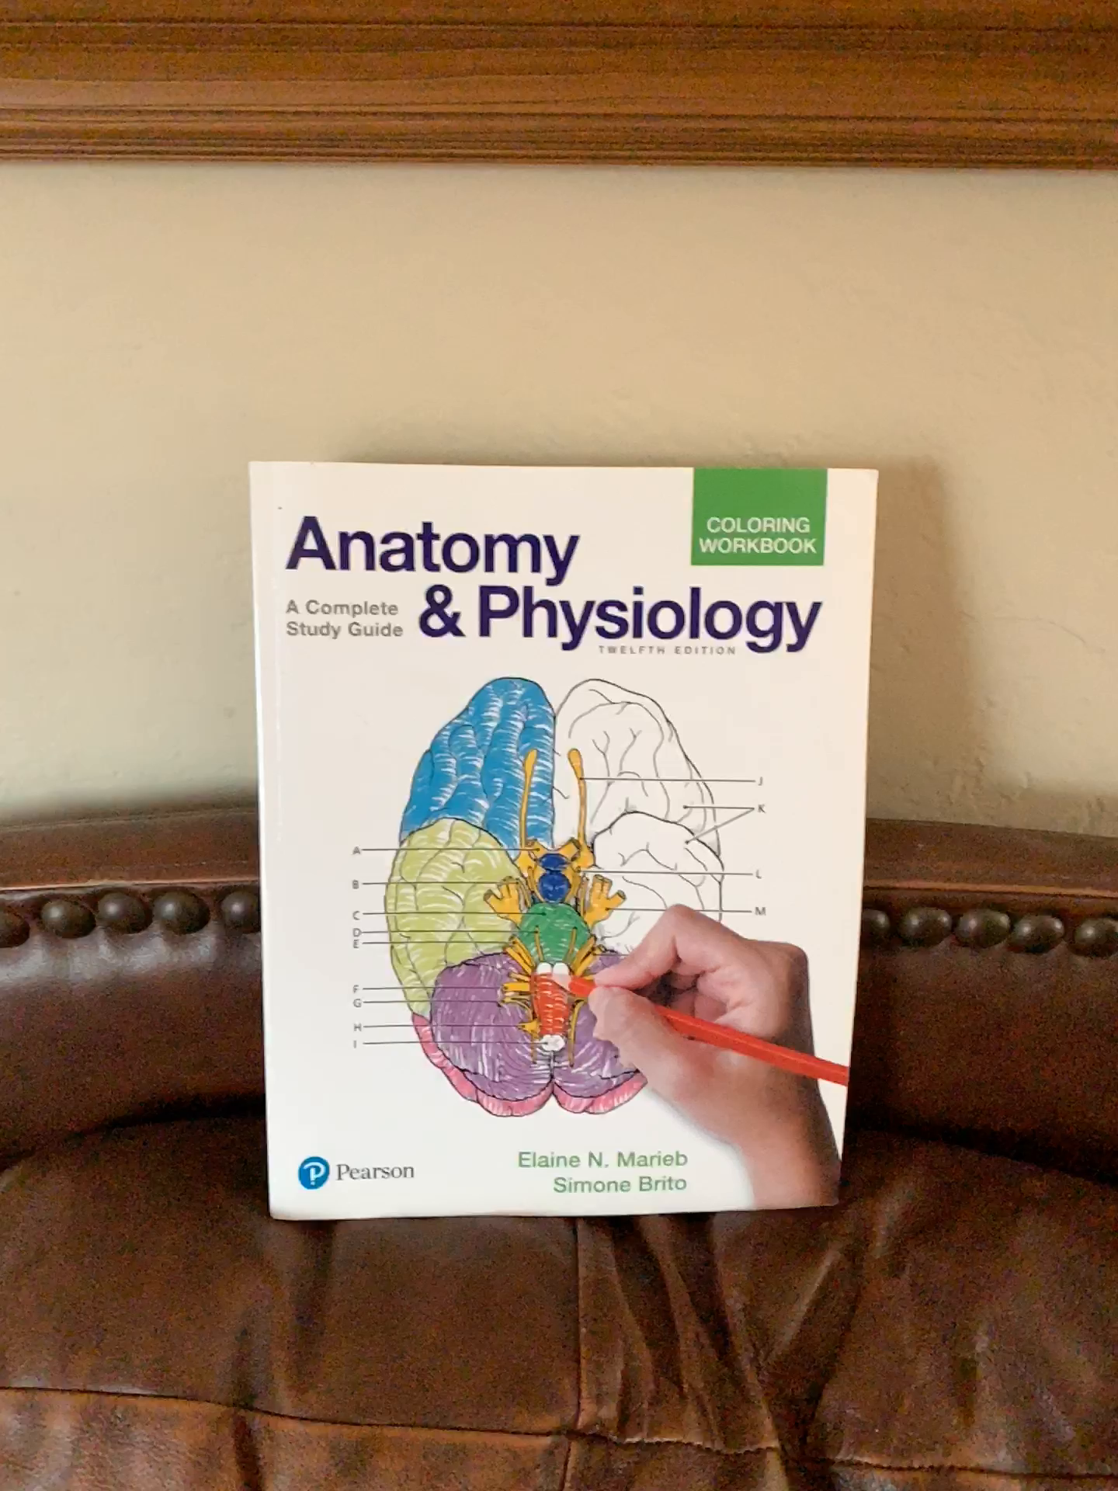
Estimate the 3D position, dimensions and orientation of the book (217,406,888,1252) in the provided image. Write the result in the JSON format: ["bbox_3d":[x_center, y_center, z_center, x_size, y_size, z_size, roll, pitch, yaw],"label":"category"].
[{"bbox_3d":[0.001,0.030,0.425,0.220,0.290,0.060,-1,7,-2],"label":"book"}]
